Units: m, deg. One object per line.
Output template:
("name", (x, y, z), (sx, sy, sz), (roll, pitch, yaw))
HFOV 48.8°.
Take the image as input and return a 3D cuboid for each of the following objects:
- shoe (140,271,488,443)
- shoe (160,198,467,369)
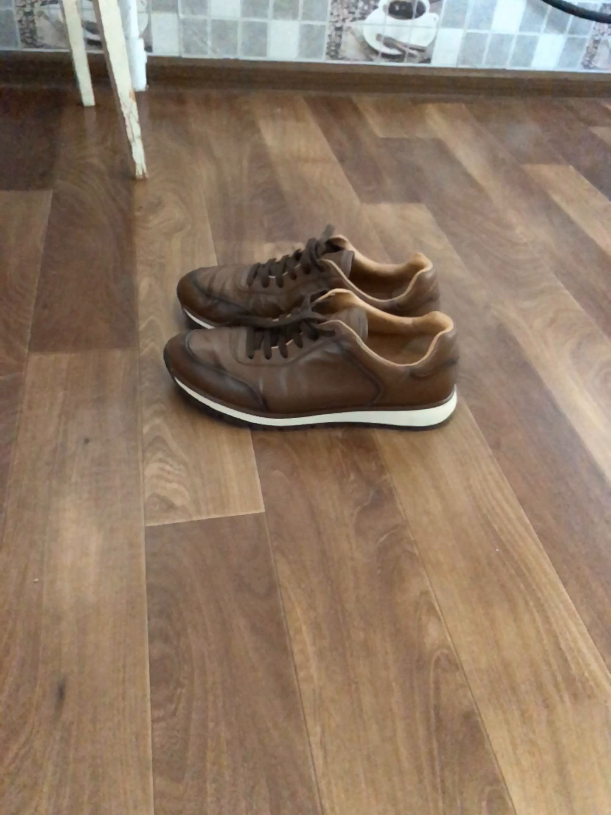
("shoe", (0.005, -0.045, 0.605), (0.280, 0.089, 0.101), (4, 43, -4))
("shoe", (0.008, -0.126, 0.679), (0.280, 0.089, 0.111), (7, 43, -1))
